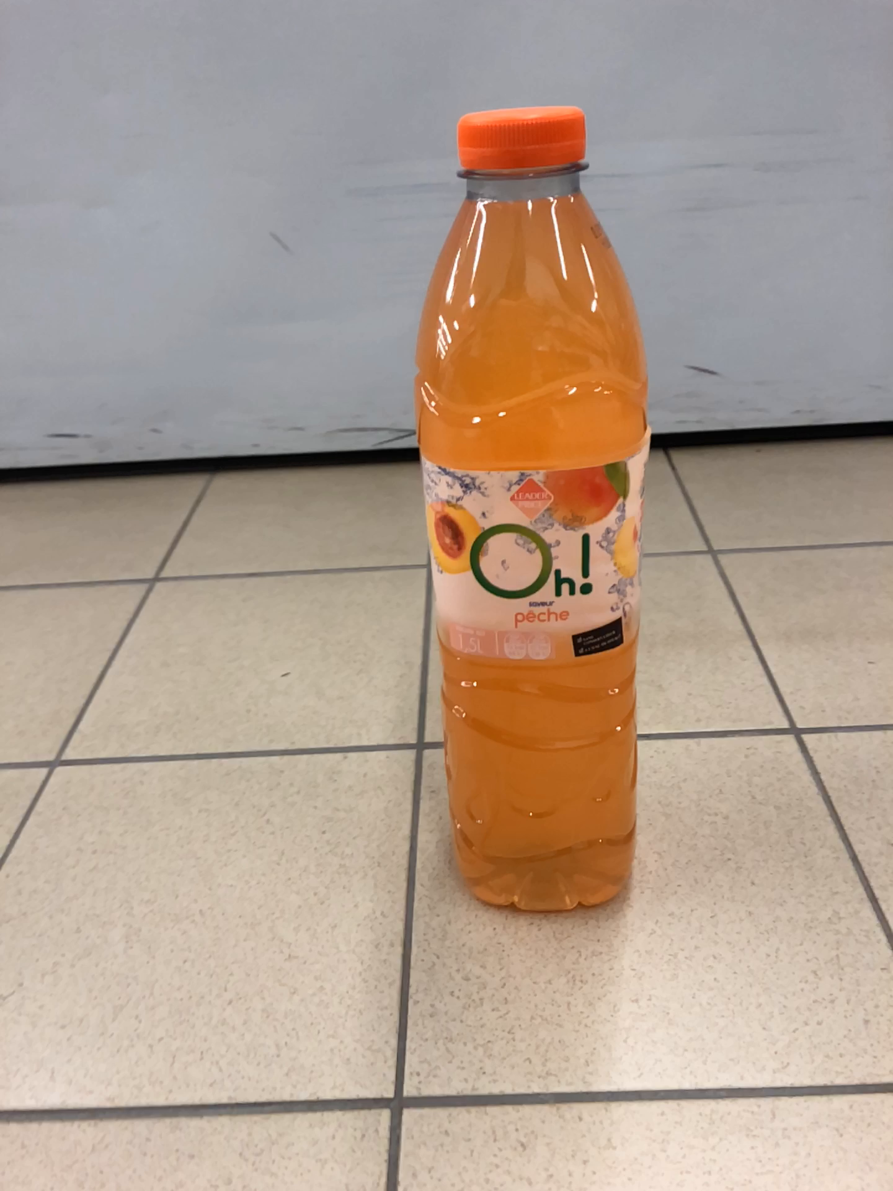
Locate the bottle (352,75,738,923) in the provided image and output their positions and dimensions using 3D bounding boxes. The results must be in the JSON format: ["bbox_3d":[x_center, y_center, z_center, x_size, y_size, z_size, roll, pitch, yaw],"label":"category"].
[{"bbox_3d":[0.035,-0.023,0.372,0.100,0.298,0.101,-3,29,2],"label":"bottle"}]
